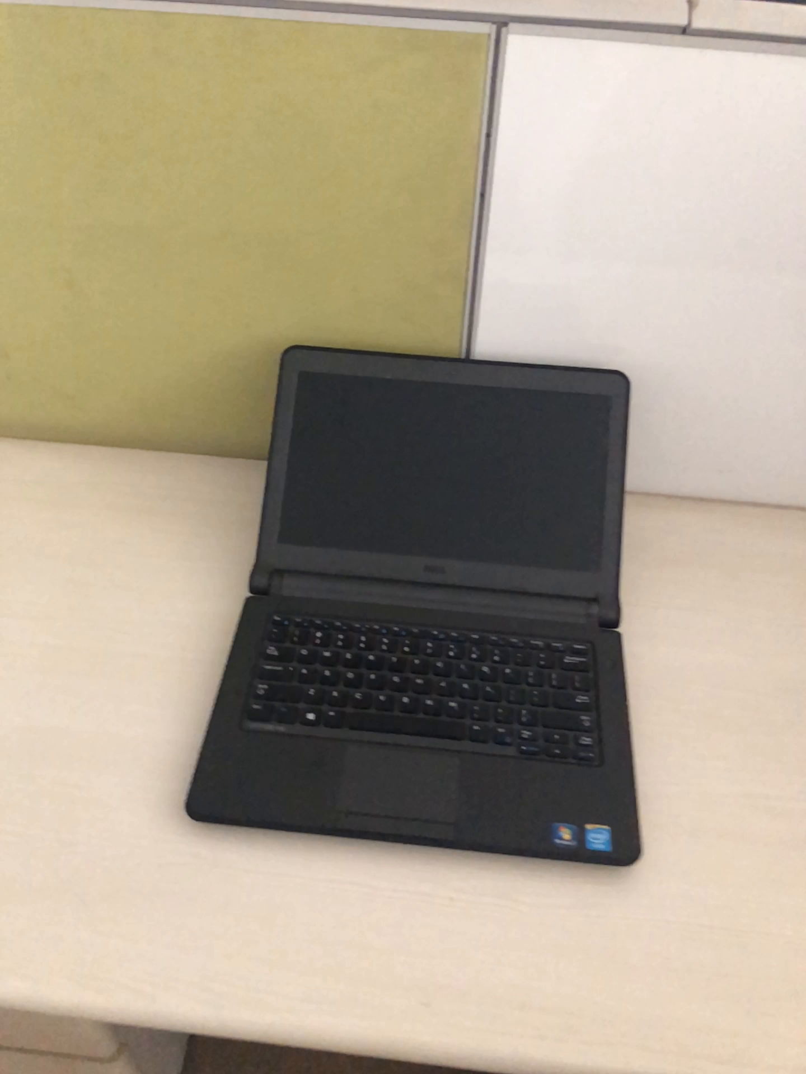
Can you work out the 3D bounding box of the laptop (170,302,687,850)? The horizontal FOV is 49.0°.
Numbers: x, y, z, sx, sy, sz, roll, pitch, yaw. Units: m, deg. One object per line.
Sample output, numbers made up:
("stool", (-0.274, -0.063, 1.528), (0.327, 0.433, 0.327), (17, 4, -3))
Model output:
("laptop", (0.032, 0.000, 0.717), (0.316, 0.122, 0.418), (6, 48, 2))
